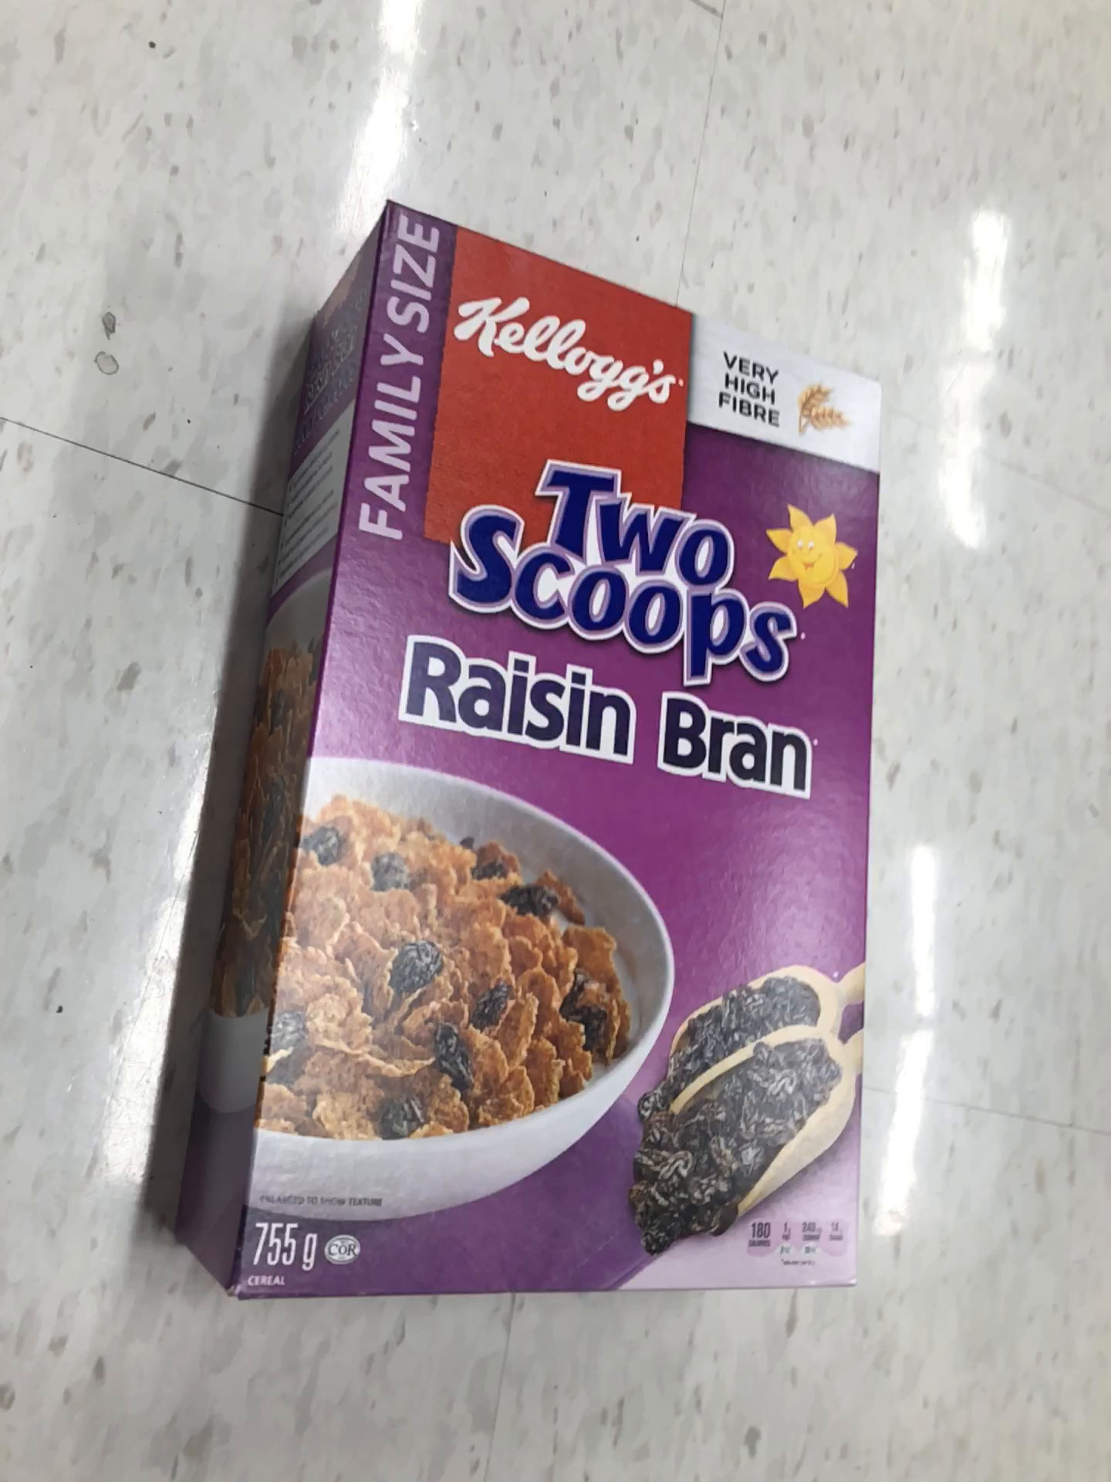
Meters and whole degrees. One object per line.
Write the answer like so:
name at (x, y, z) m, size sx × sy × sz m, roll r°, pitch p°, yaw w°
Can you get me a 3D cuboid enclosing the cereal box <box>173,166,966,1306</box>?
cereal box at (0.019, 0.008, 0.392) m, size 0.220 × 0.080 × 0.300 m, roll 11°, pitch 75°, yaw -25°
